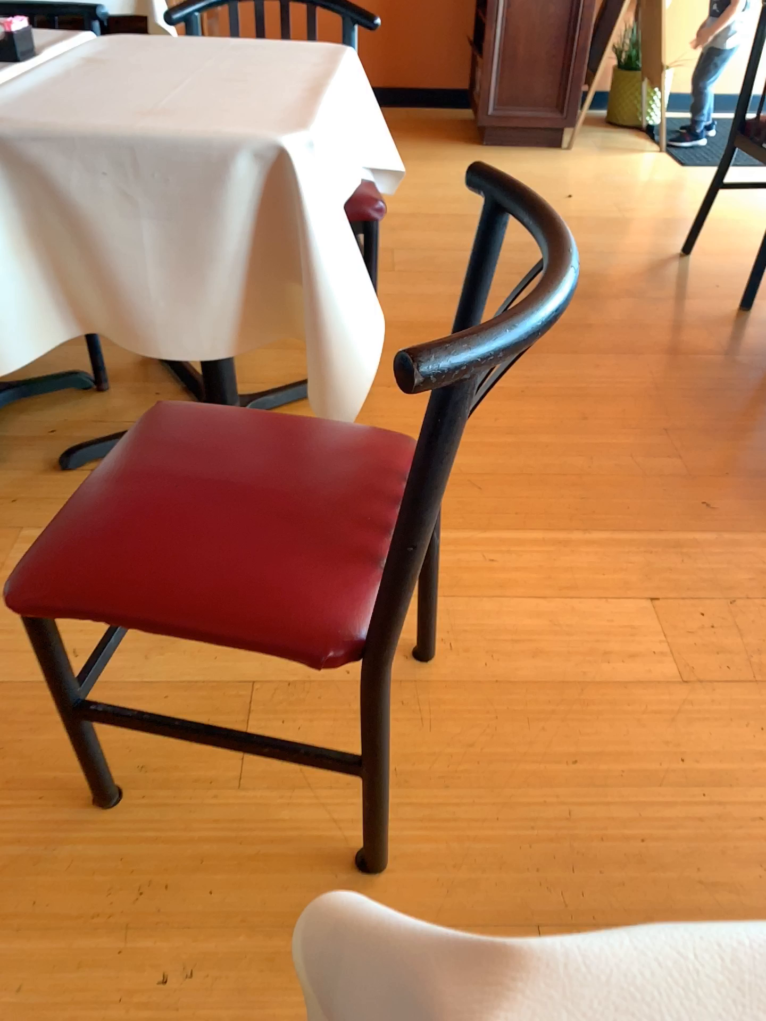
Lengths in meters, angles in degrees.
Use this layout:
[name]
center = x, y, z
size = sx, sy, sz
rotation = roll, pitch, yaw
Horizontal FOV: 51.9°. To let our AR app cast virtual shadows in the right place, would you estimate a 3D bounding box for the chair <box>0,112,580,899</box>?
[chair]
center = -0.120, 0.003, 0.936
size = 0.570, 0.726, 0.483
rotation = 8, 42, 8
